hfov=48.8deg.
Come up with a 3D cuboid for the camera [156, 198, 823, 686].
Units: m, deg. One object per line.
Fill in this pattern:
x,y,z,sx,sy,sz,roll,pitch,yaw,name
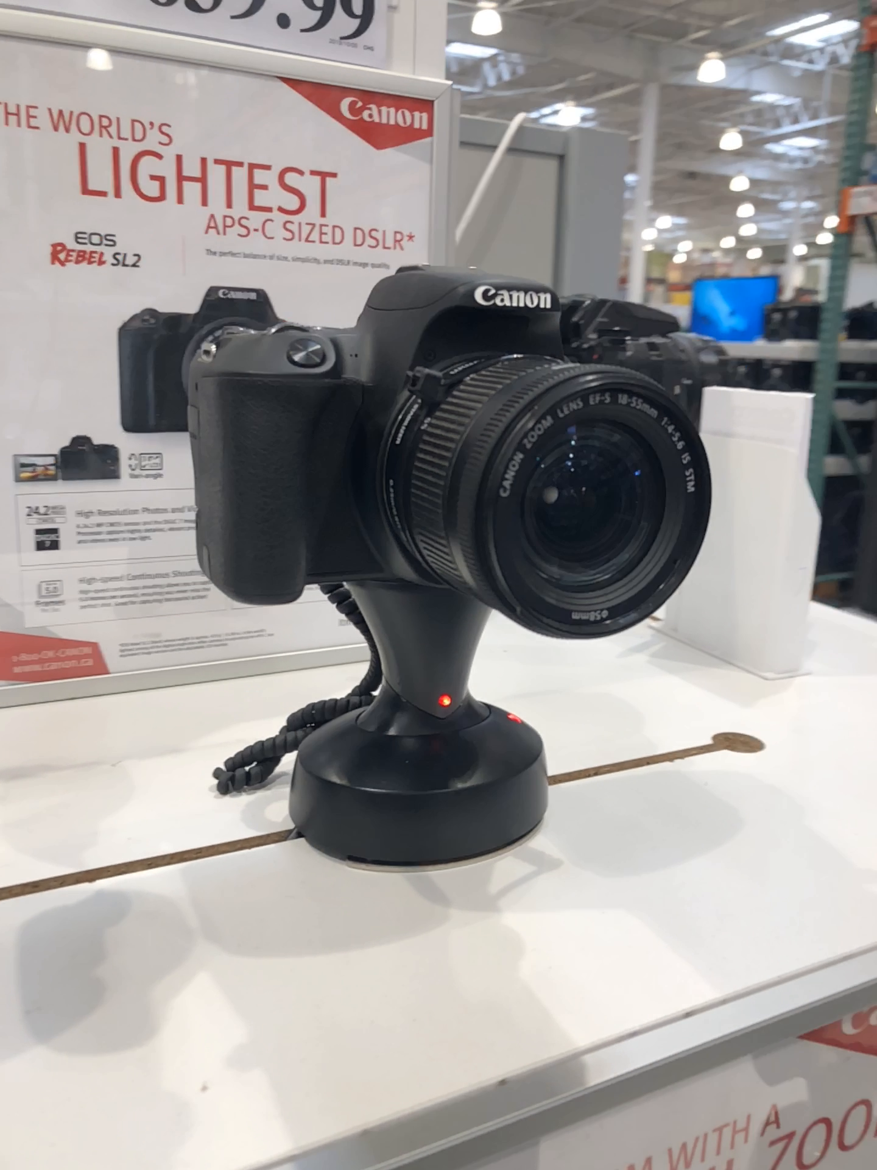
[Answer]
0.003,-0.043,0.259,0.130,0.090,0.120,-5,16,-26,camera
